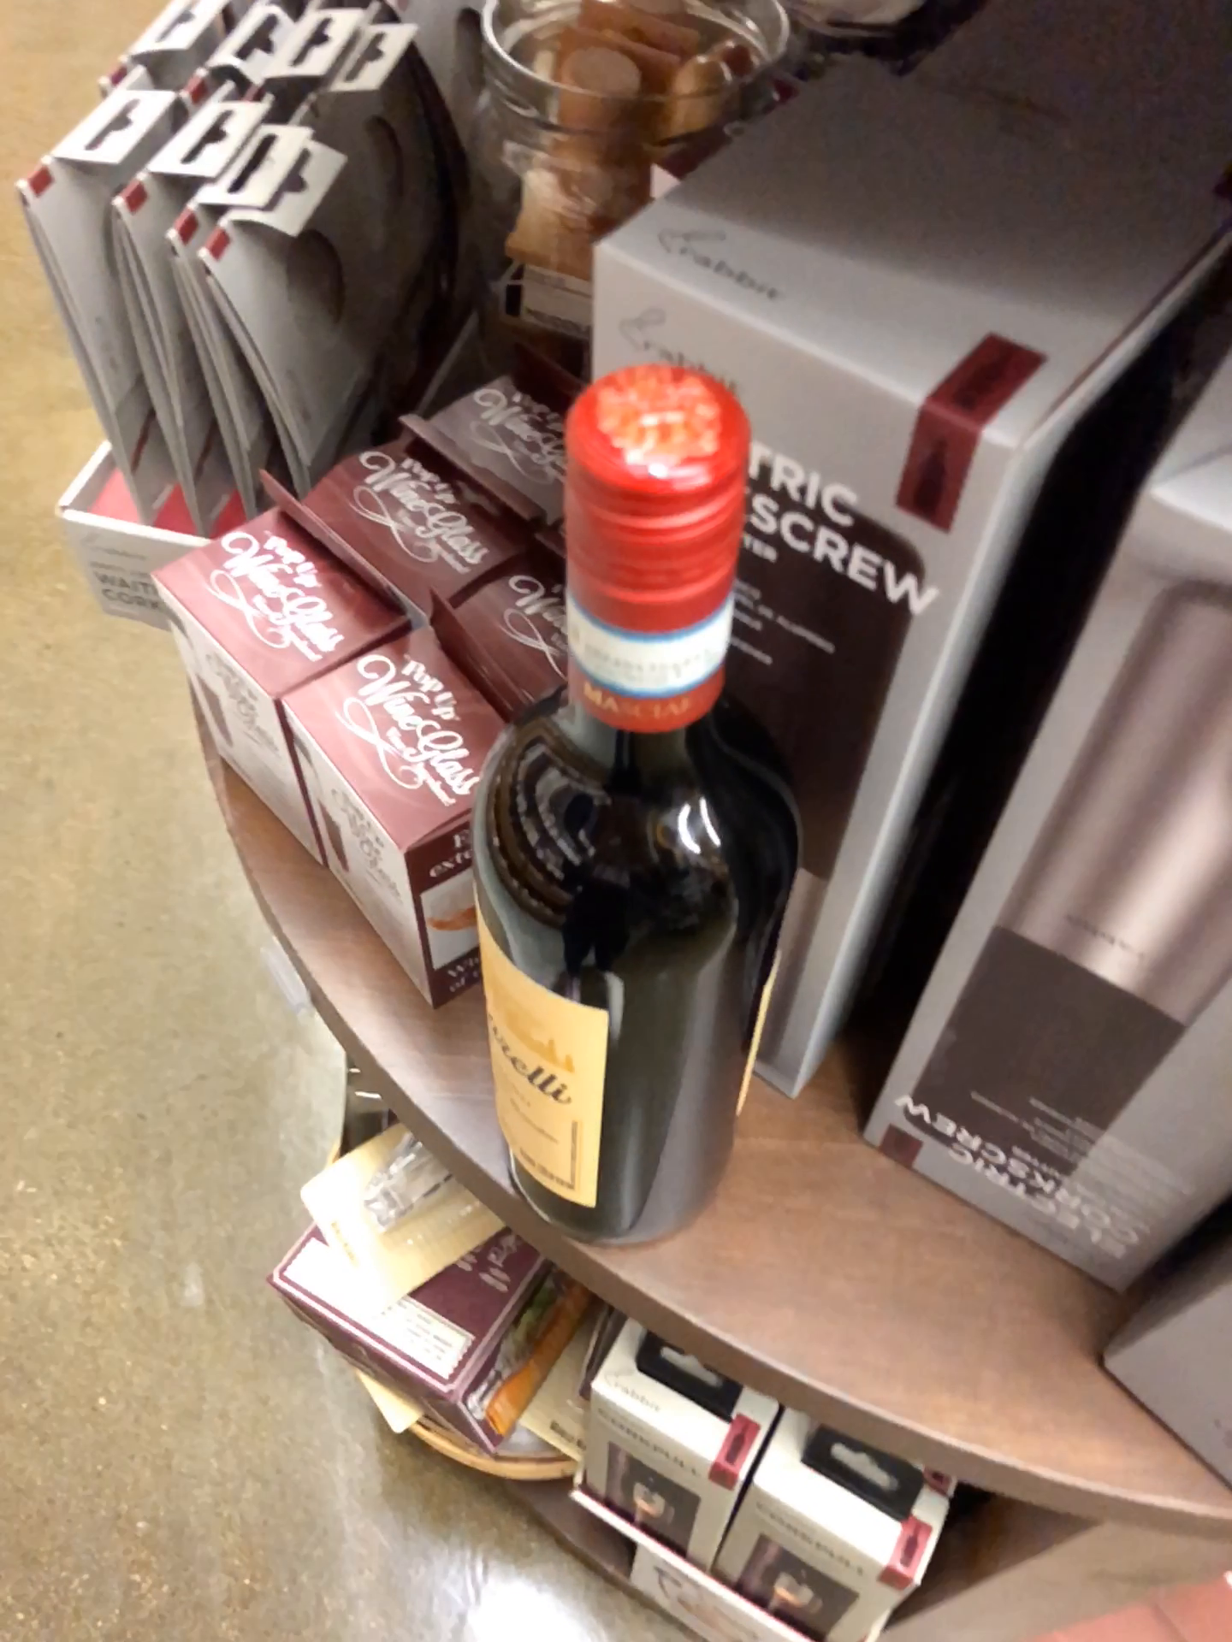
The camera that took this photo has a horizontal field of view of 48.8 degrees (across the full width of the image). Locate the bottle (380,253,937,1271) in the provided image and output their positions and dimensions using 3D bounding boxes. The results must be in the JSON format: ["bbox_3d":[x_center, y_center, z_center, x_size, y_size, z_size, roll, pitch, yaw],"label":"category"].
[{"bbox_3d":[0.003,0.021,0.316,0.075,0.283,0.072,0,54,0],"label":"bottle"}]
